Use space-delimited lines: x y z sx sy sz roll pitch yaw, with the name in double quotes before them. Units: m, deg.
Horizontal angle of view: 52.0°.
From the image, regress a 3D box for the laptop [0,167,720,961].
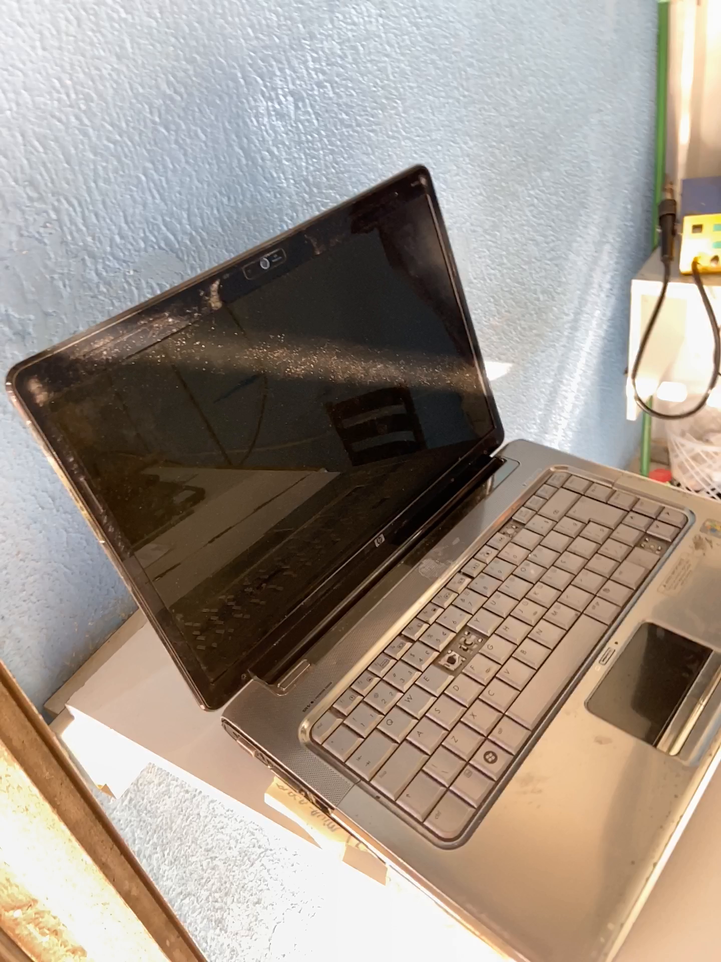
"laptop" 0.068 -0.009 0.448 0.329 0.233 0.352 21 47 38
